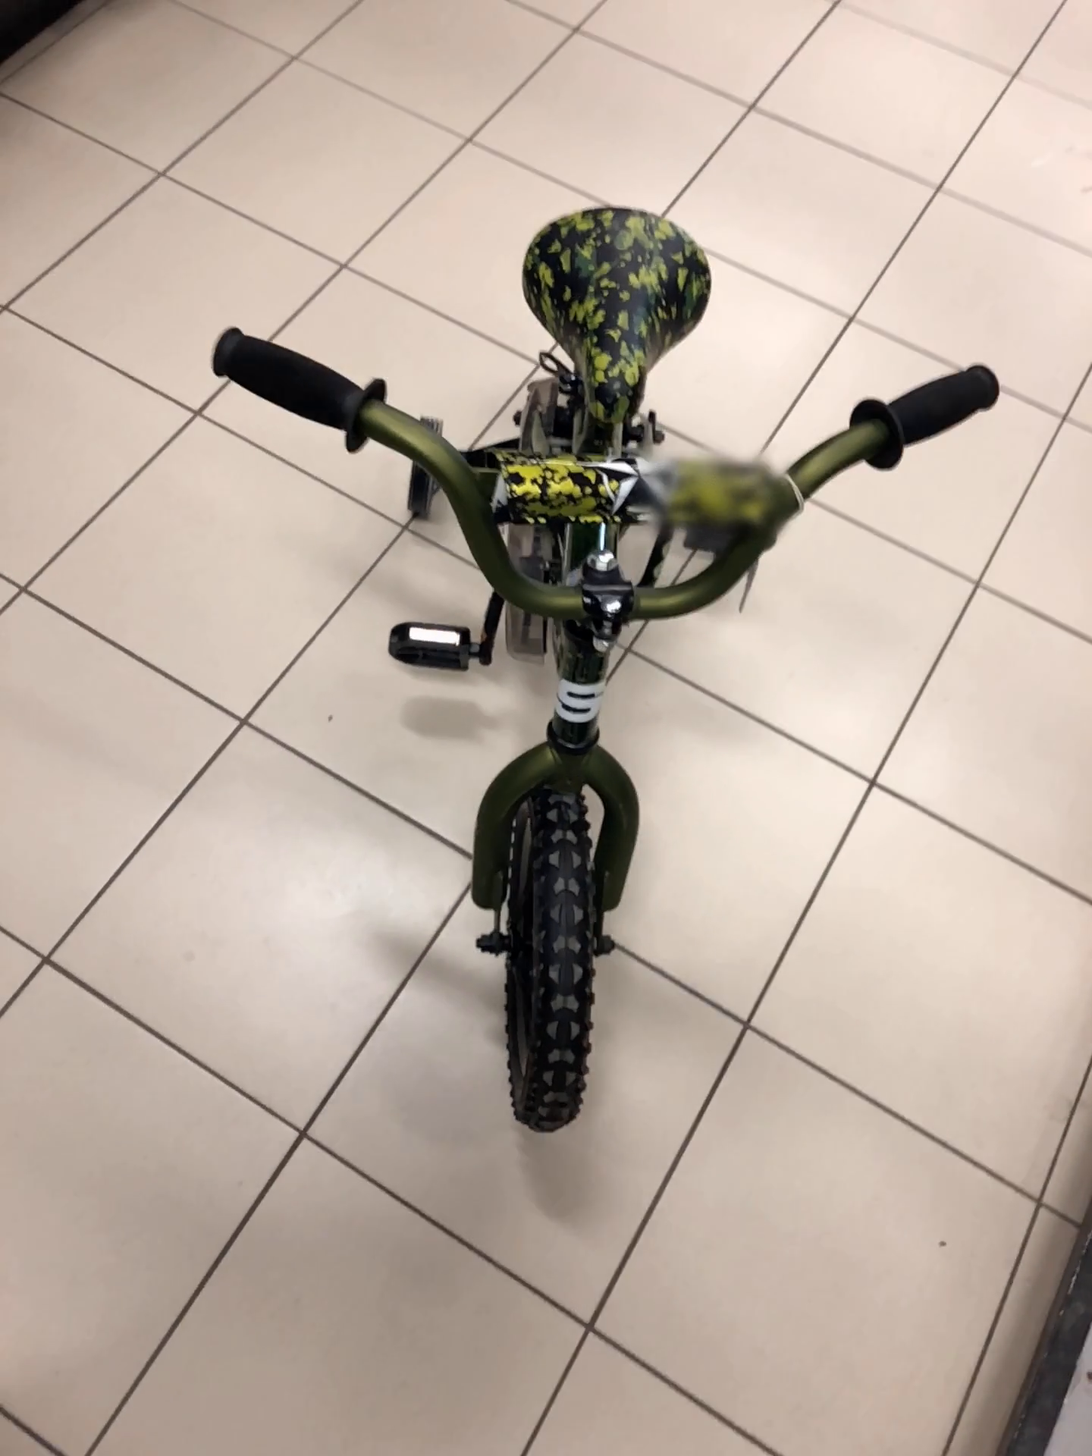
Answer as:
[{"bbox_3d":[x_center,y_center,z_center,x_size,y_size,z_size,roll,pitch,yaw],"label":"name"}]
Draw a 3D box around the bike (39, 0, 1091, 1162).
[{"bbox_3d":[0.053,-0.134,0.966,0.532,0.557,0.818,4,61,-1],"label":"bike"}]
